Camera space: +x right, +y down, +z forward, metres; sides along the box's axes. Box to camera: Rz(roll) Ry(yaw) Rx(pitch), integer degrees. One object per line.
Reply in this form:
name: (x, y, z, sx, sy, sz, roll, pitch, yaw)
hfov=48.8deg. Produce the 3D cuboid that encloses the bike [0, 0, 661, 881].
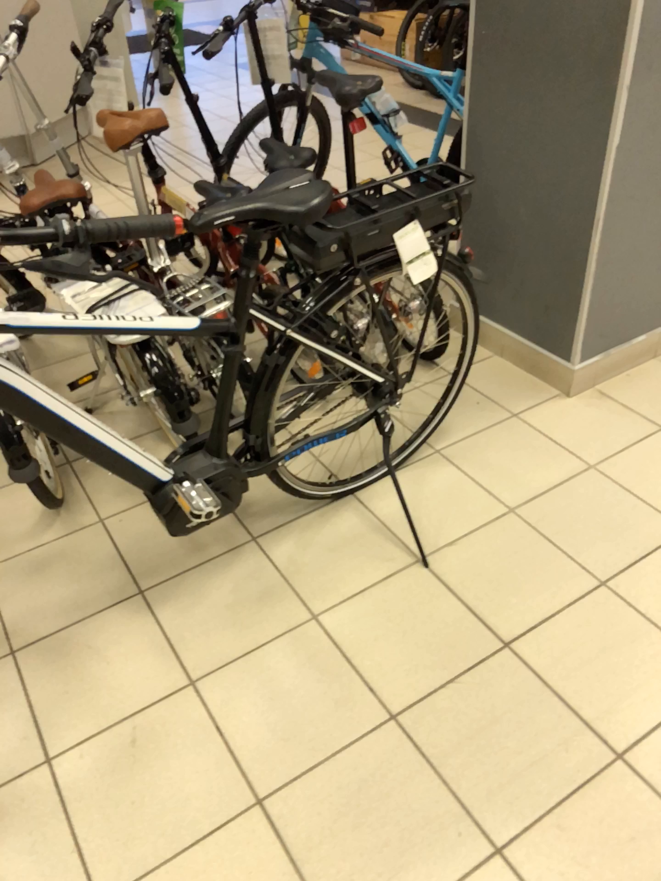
bike: (-0.179, -0.056, 1.362, 0.698, 1.176, 1.616, 28, 48, 35)
